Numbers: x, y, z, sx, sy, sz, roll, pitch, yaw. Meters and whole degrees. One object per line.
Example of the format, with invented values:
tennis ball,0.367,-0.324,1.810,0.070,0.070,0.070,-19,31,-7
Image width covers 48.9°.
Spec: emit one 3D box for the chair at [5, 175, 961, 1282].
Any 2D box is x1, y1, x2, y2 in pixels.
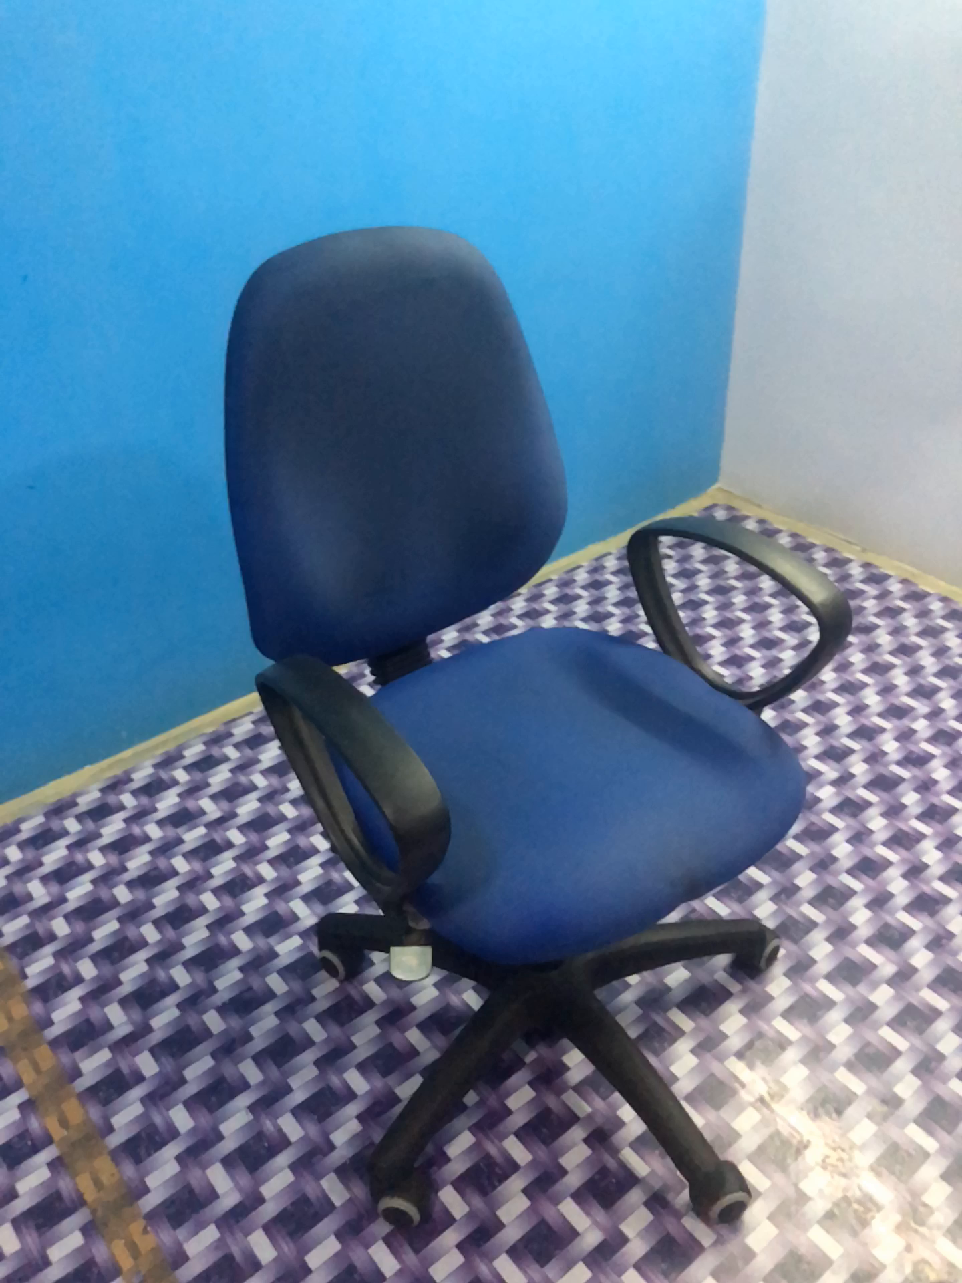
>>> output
chair,0.099,0.082,1.070,0.703,0.875,0.671,-24,39,-32
